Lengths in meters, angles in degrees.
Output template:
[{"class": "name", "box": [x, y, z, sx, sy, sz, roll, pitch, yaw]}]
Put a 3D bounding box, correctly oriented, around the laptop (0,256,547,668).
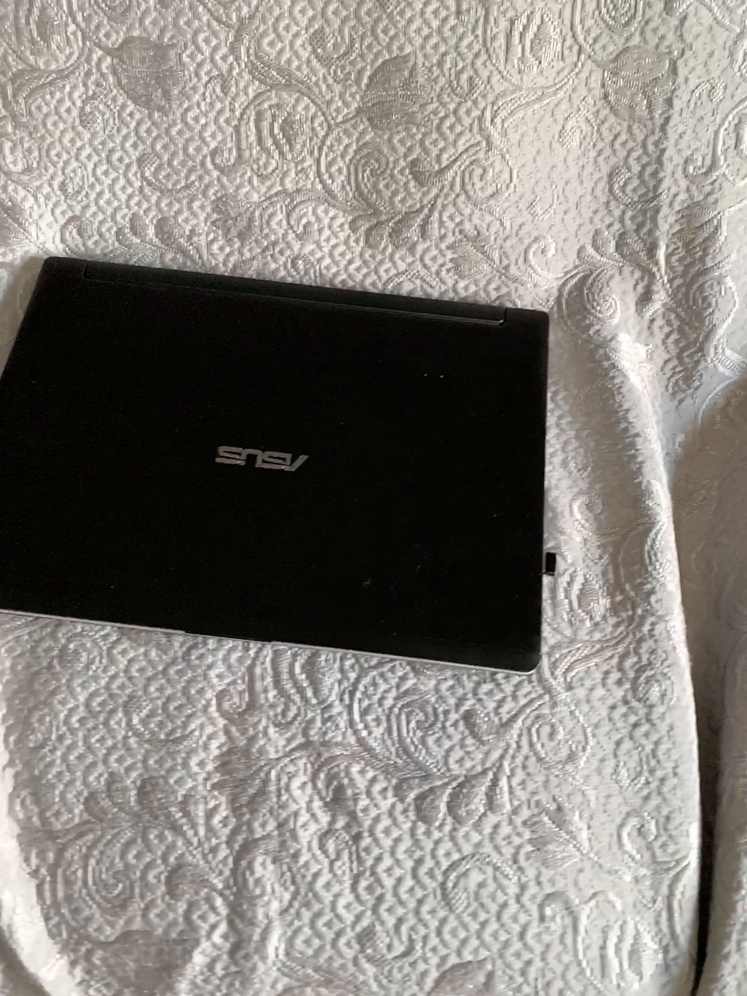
[{"class": "laptop", "box": [-0.064, -0.034, 0.461, 0.333, 0.001, 0.232, 7, 67, 0]}]
